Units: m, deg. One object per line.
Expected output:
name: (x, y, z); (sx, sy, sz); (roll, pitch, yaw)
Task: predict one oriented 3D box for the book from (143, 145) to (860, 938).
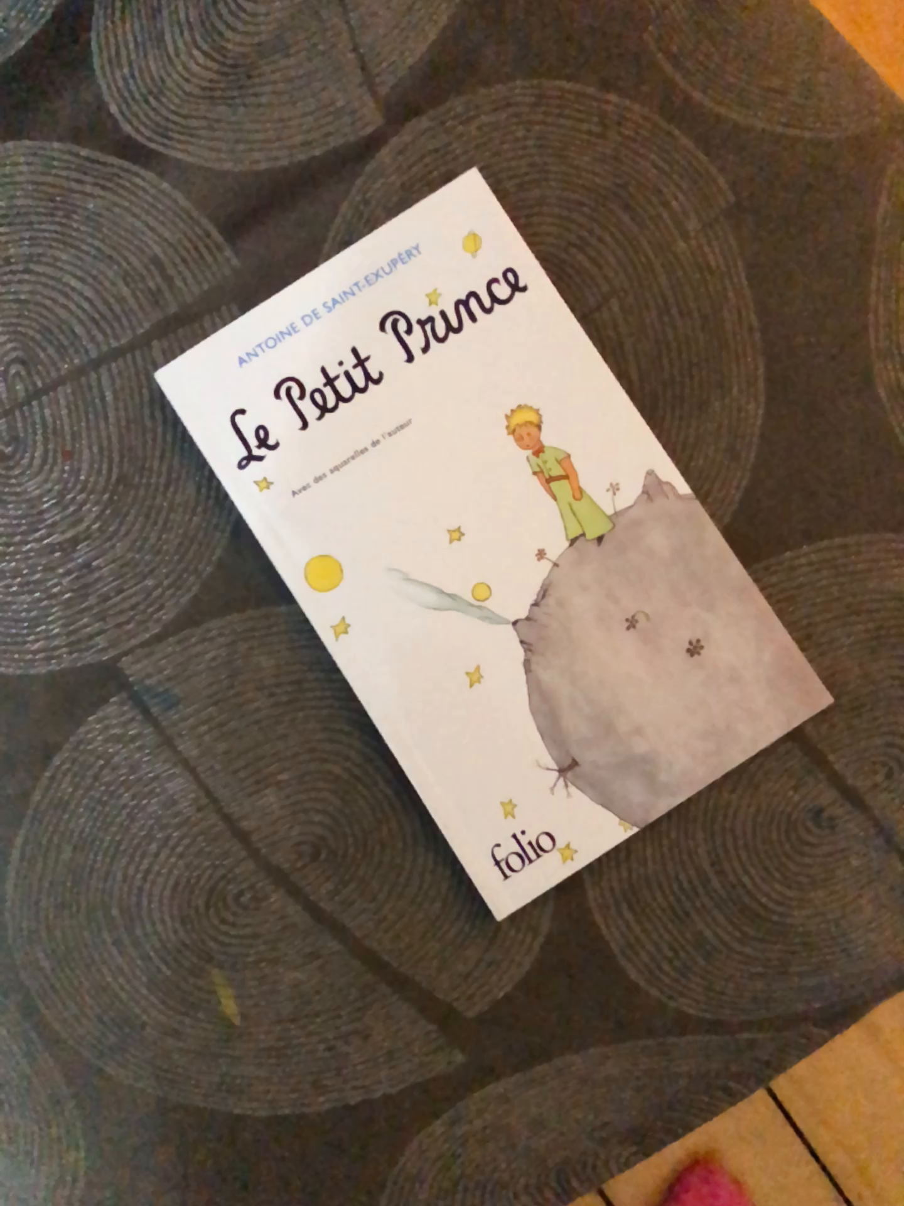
book: (0.013, -0.016, 0.269); (0.110, 0.030, 0.170); (-32, 91, -3)
